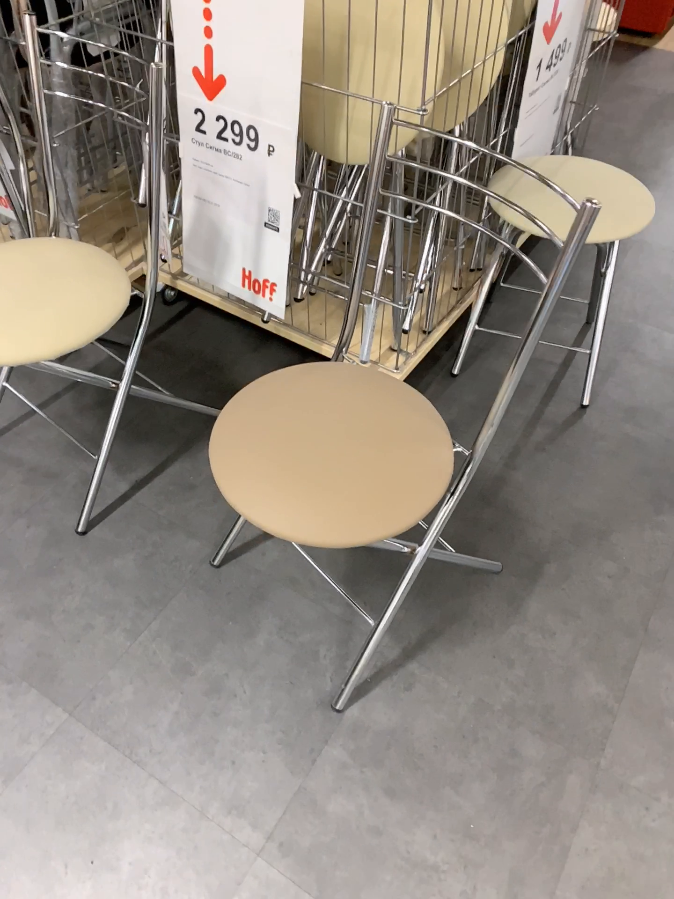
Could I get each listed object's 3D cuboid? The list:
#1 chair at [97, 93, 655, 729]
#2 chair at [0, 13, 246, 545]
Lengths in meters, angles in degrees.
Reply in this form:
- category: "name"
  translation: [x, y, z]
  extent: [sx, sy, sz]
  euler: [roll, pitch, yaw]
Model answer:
- category: "chair"
  translation: [0.046, -0.024, 1.115]
  extent: [0.491, 0.796, 0.441]
  euler: [-34, 57, -26]
- category: "chair"
  translation: [-0.580, -0.320, 1.390]
  extent: [0.521, 0.776, 0.492]
  euler: [29, 55, 23]
